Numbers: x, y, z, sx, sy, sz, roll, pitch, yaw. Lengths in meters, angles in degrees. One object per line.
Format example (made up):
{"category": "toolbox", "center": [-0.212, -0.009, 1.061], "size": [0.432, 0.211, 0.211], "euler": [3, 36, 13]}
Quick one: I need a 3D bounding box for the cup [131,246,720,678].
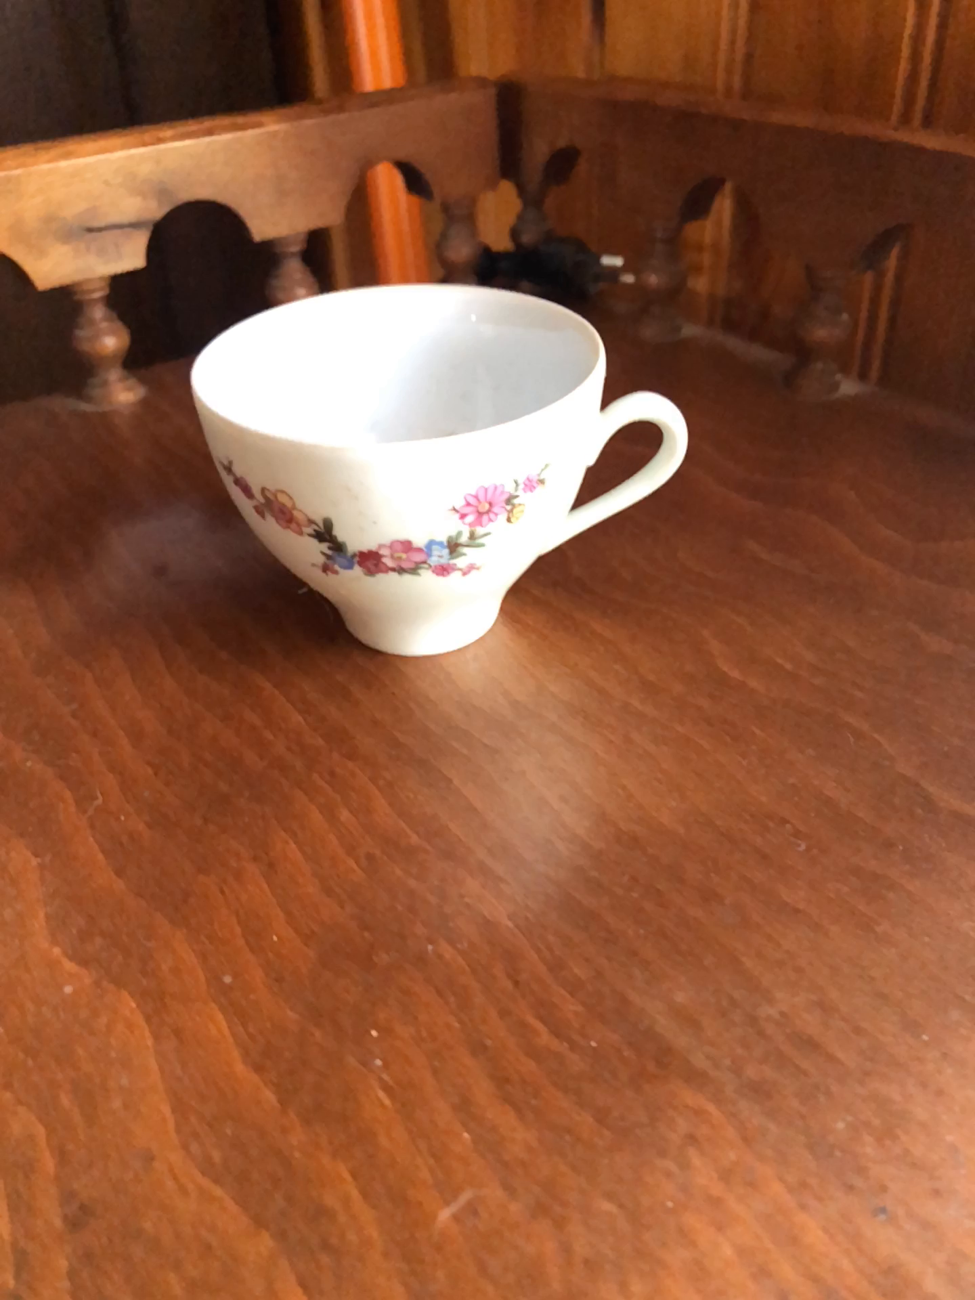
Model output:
{"category": "cup", "center": [-0.009, -0.040, 0.214], "size": [0.090, 0.050, 0.080], "euler": [-2, 35, 1]}
